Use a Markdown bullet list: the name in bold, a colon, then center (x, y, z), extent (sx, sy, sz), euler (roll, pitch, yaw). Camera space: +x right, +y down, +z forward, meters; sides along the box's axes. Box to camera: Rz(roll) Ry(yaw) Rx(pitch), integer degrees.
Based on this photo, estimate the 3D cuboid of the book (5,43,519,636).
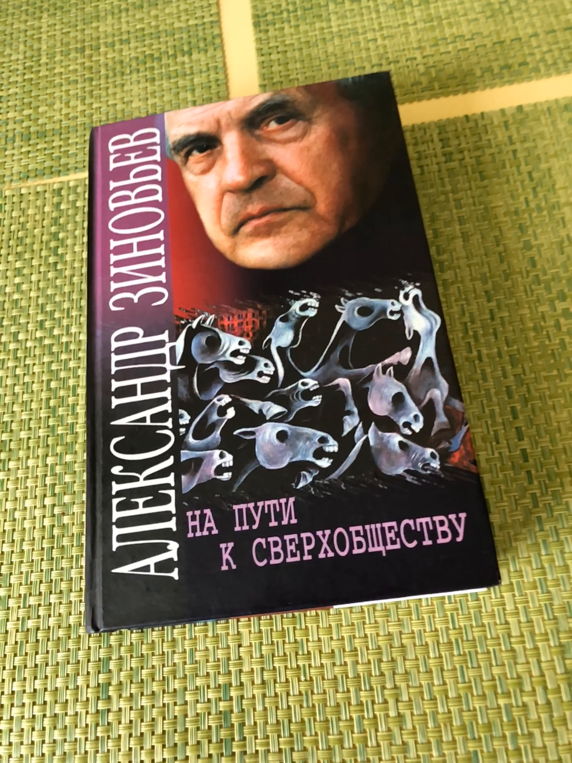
- **book**: center (-0.018, -0.022, 0.237), extent (0.150, 0.040, 0.201), euler (-8, 69, 4)
